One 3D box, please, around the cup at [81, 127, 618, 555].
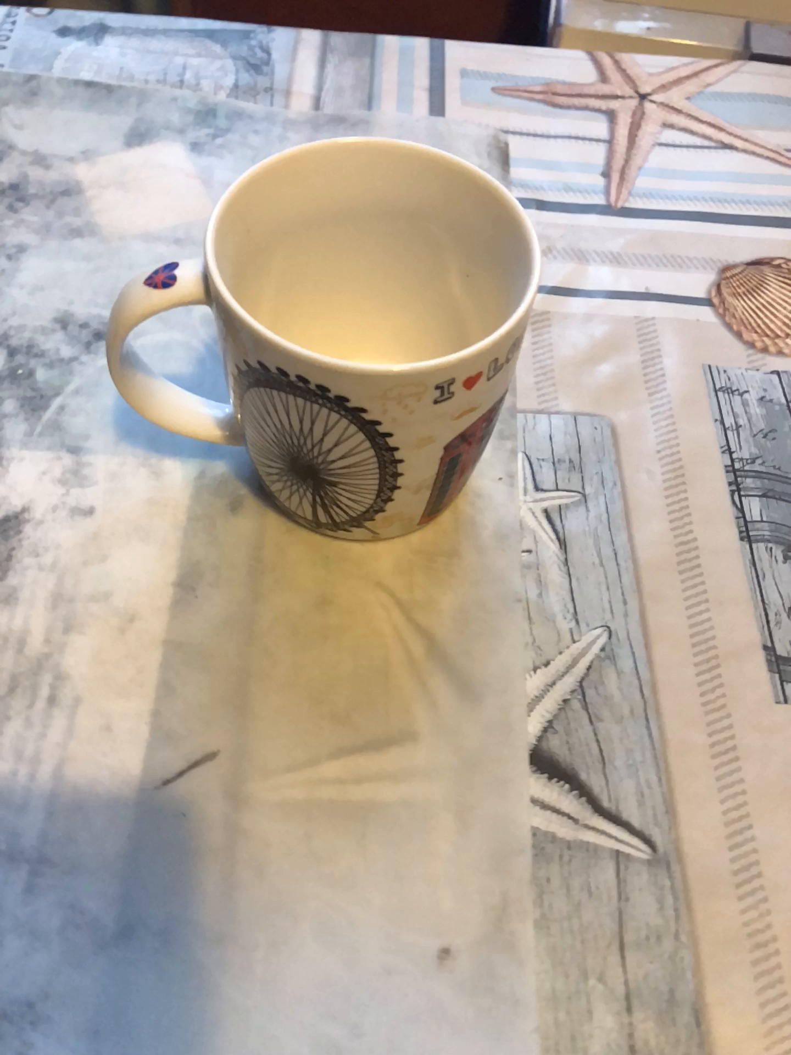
[{"bbox_3d":[-0.014,-0.051,0.257,0.121,0.086,0.085,0,54,-5],"label":"cup"}]
